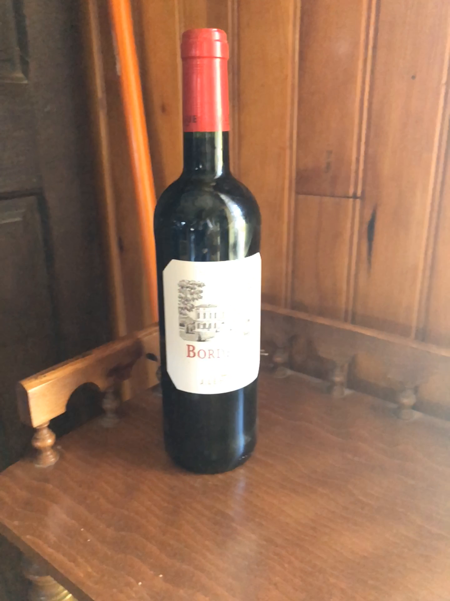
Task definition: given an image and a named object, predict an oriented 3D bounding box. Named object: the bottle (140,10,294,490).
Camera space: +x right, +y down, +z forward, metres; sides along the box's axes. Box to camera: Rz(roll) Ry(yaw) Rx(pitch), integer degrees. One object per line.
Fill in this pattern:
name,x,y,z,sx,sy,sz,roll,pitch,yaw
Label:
bottle,-0.009,-0.023,0.356,0.080,0.309,0.080,0,20,0
